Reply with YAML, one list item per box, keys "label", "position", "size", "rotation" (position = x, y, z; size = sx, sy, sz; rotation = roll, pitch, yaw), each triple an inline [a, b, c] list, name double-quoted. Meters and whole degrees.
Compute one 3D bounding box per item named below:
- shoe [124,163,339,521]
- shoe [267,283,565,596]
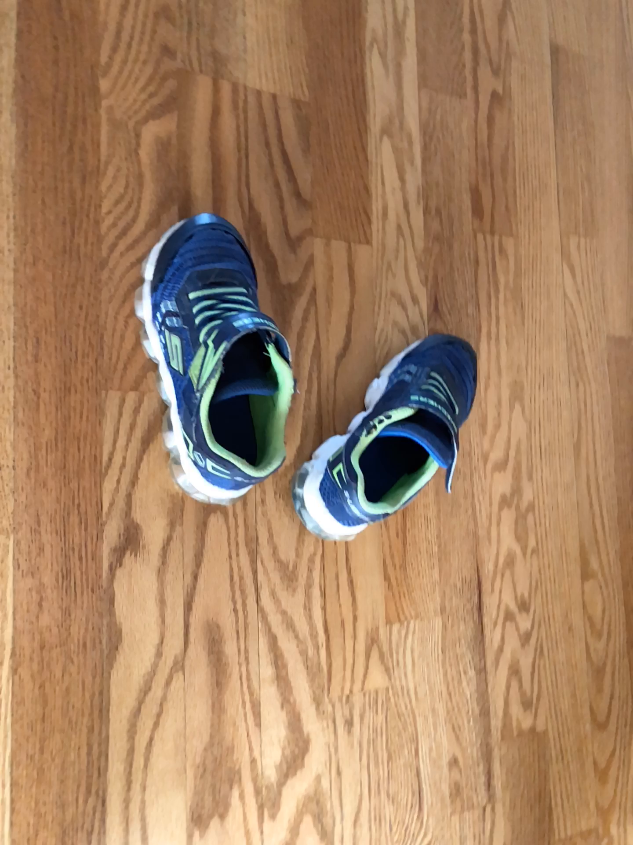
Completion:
- label: "shoe"
  position: [-0.059, -0.045, 0.455]
  size: [0.093, 0.095, 0.203]
  rotation: [-4, 87, -29]
- label: "shoe"
  position: [0.078, 0.009, 0.519]
  size: [0.093, 0.087, 0.212]
  rotation: [47, 66, -16]
